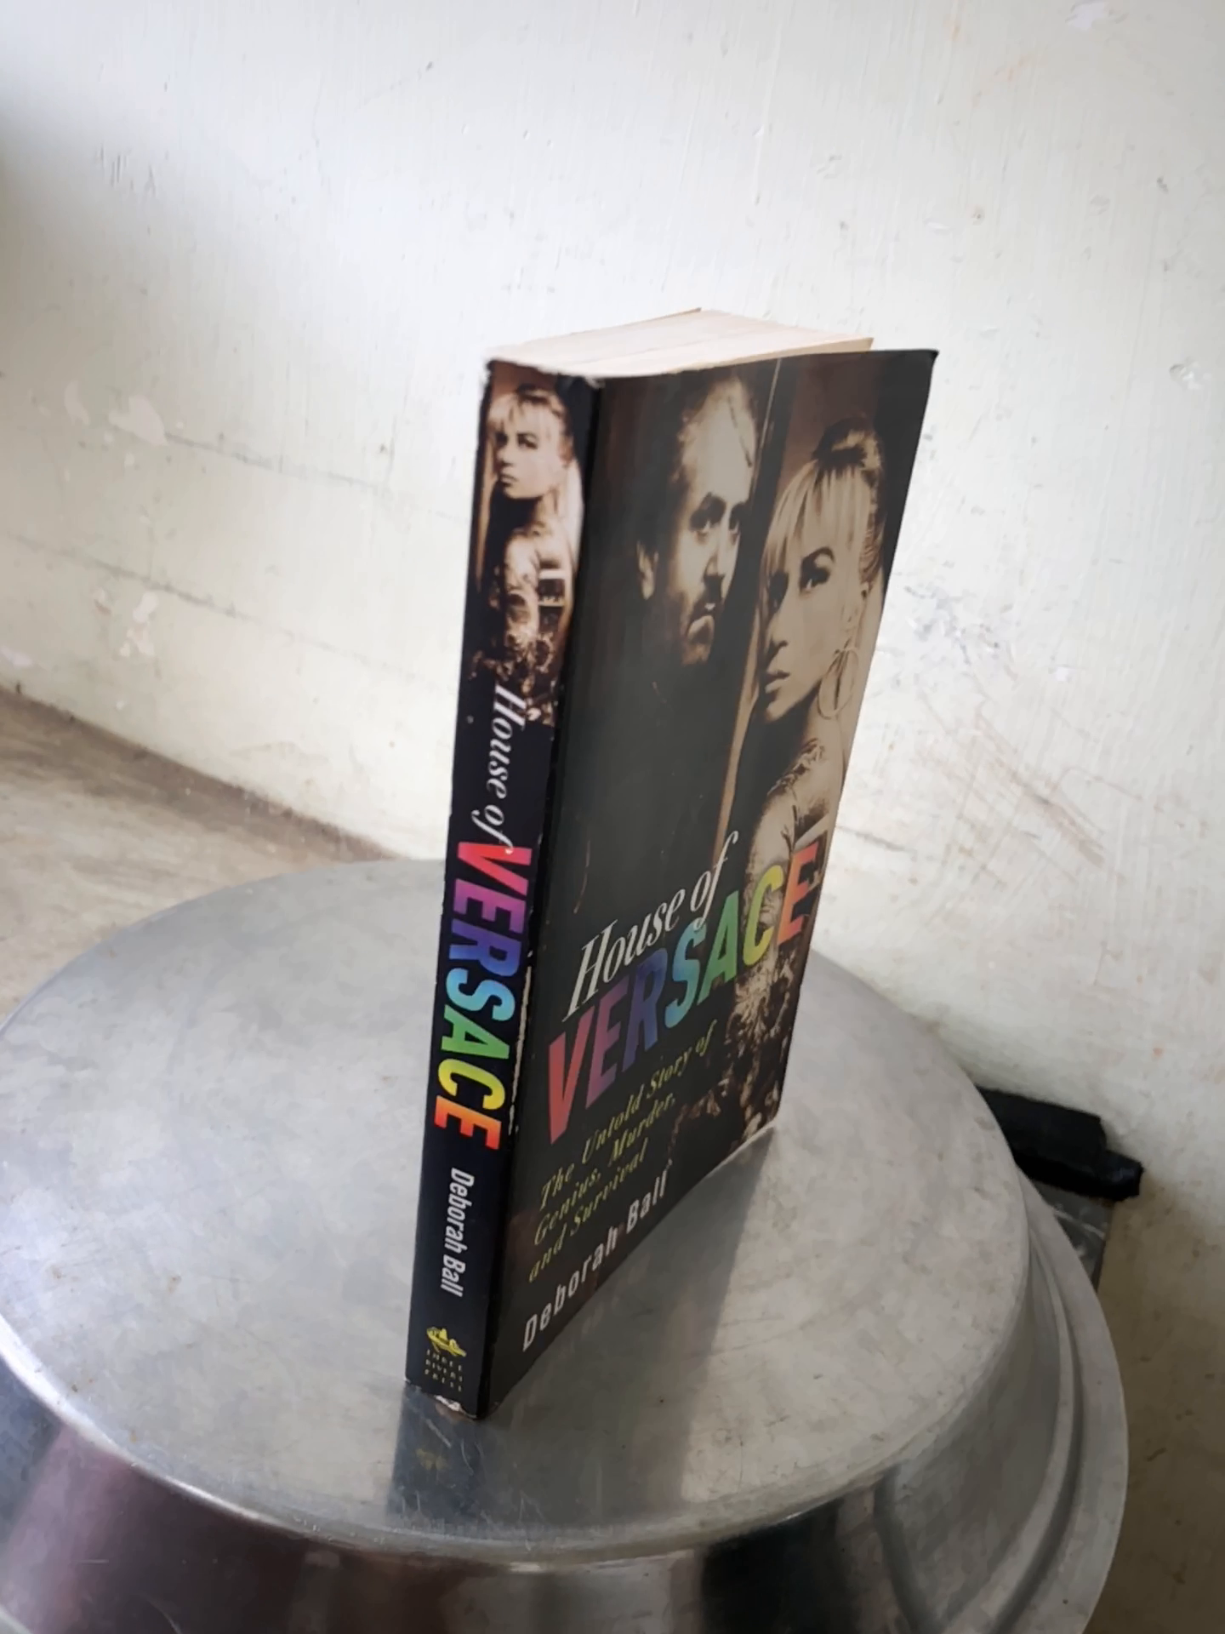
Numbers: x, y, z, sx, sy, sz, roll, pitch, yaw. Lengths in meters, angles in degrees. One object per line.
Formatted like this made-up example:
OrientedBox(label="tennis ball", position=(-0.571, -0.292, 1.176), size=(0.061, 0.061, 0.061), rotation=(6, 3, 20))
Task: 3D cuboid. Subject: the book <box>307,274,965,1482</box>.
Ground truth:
OrientedBox(label="book", position=(0.012, 0.001, 0.314), size=(0.040, 0.219, 0.181), rotation=(19, 24, 21))
